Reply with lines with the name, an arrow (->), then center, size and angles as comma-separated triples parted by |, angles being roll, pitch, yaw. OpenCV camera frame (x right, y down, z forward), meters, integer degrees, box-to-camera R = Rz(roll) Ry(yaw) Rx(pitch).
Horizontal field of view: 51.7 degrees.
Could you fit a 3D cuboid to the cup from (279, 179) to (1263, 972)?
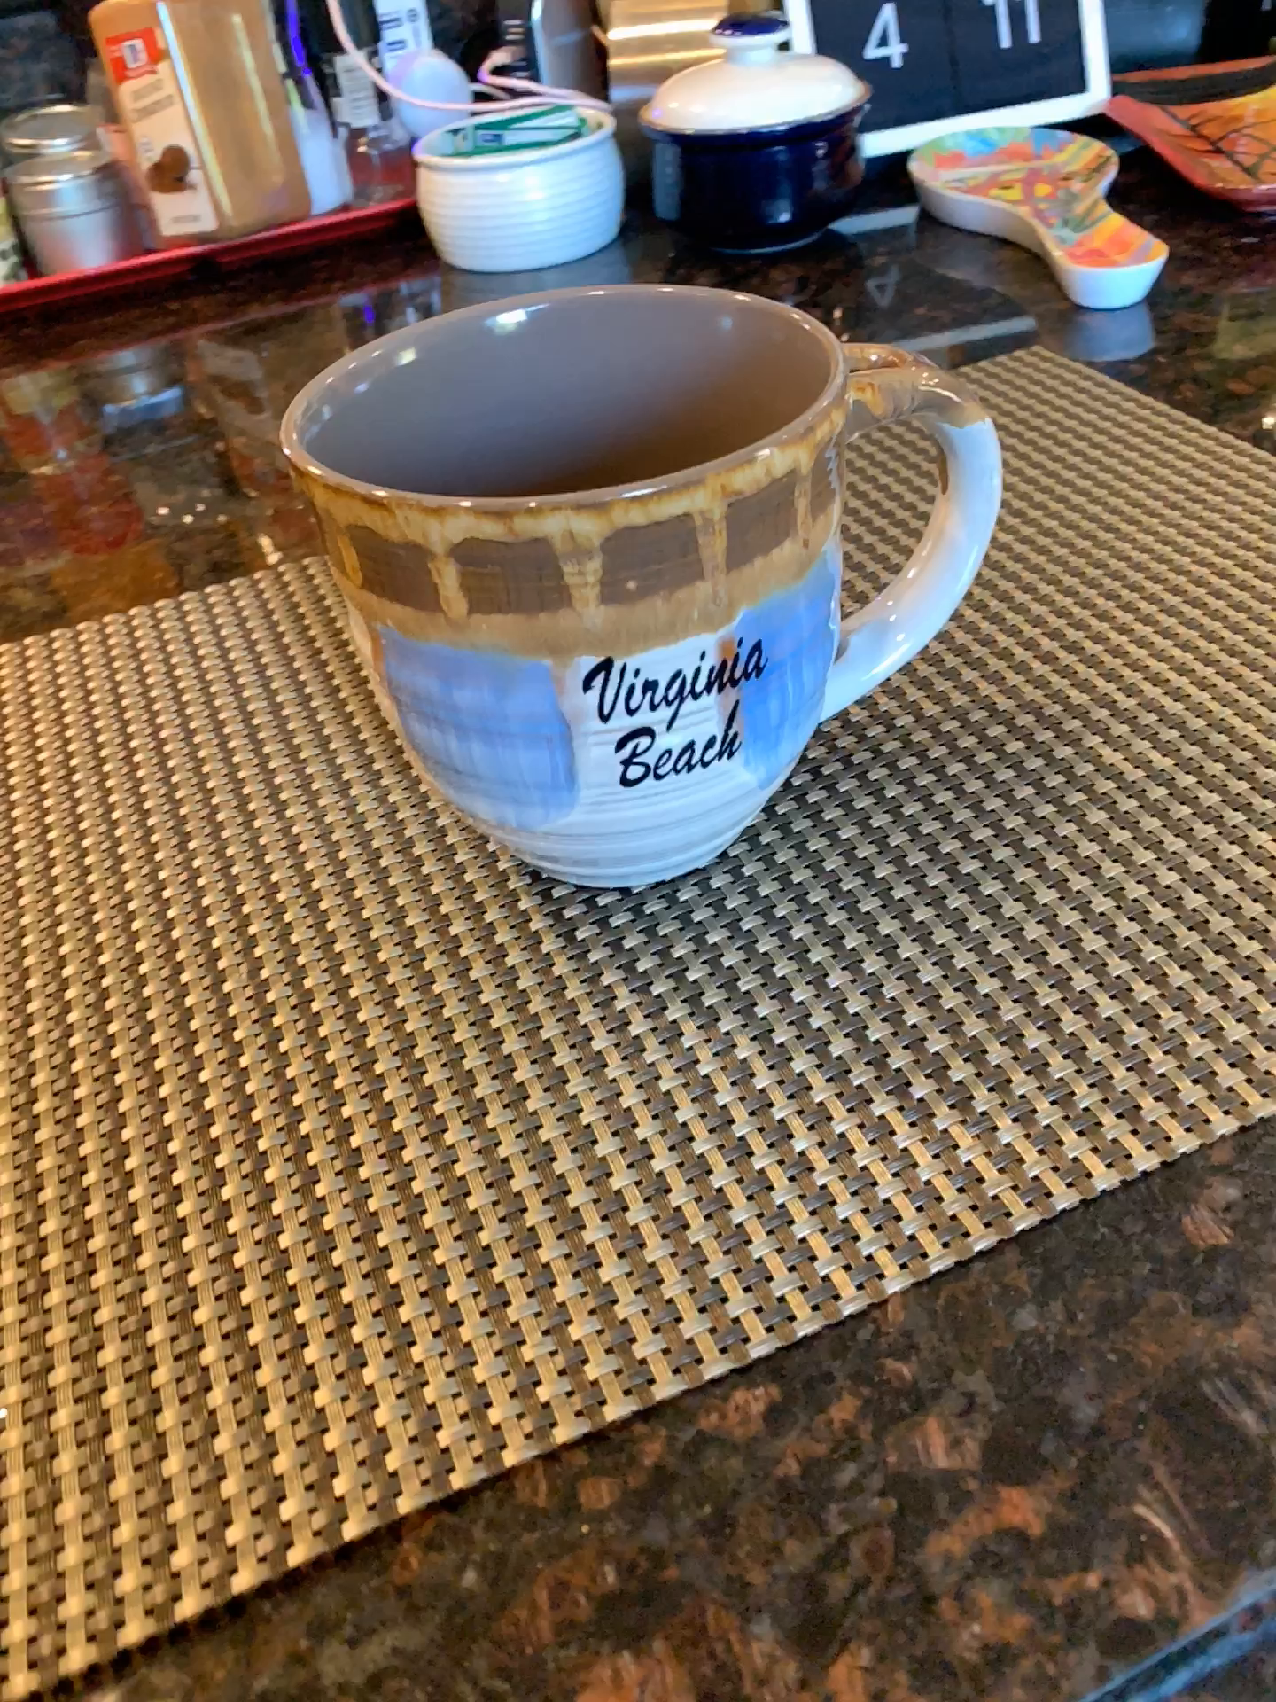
cup -> 0.019, -0.062, 0.267 | 0.150, 0.090, 0.101 | -16, 41, -9
